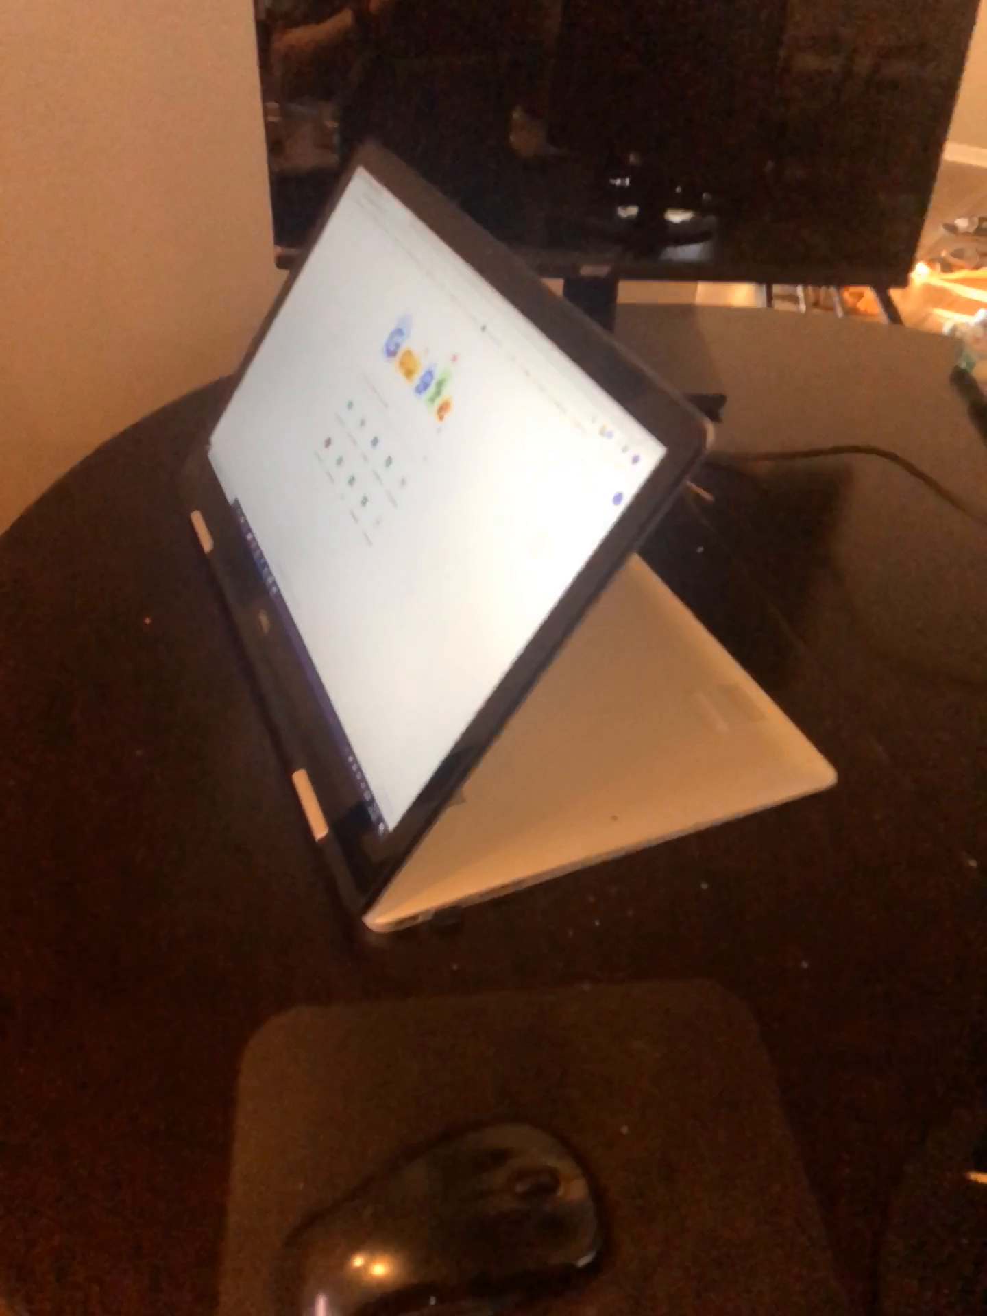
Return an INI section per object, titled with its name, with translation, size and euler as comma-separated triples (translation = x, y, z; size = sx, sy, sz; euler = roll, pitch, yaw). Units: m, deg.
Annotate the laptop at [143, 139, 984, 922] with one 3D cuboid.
[laptop]
translation = -0.012, -0.115, 0.625
size = 0.267, 0.232, 0.420
euler = -13, 41, -19
